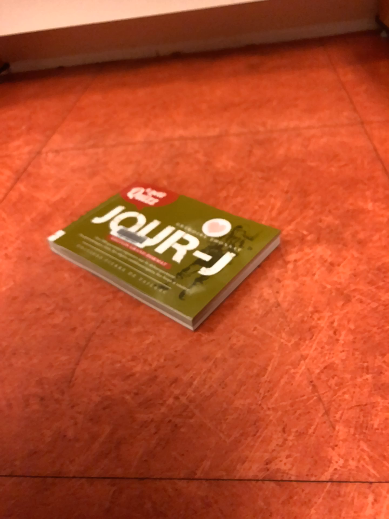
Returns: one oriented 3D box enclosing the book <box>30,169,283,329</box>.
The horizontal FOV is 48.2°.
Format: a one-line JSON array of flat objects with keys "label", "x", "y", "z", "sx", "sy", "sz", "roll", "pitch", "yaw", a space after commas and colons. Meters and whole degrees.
[{"label": "book", "x": -0.042, "y": -0.027, "z": 0.437, "sx": 0.218, "sy": 0.016, "sz": 0.137, "roll": 24, "pitch": 49, "yaw": 31}]
